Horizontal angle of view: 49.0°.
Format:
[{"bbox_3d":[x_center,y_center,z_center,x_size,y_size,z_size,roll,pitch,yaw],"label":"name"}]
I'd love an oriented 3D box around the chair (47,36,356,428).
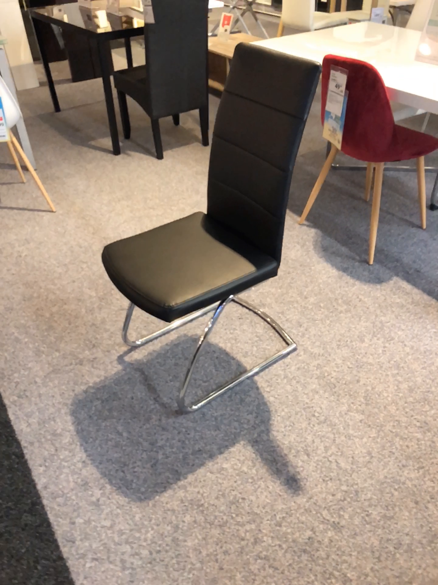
[{"bbox_3d":[-0.039,-0.184,1.431,0.562,0.905,0.491,-25,44,-27],"label":"chair"}]
